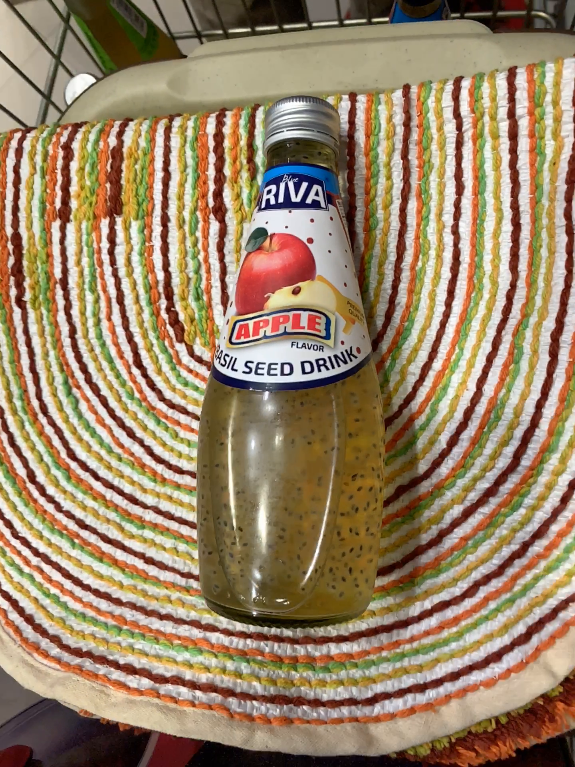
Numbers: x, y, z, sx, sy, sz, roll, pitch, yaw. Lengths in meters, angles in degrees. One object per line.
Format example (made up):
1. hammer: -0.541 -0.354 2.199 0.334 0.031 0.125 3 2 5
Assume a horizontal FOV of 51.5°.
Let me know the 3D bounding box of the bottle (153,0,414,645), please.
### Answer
1. bottle: 0.006 -0.025 0.209 0.070 0.050 0.200 1 80 13
